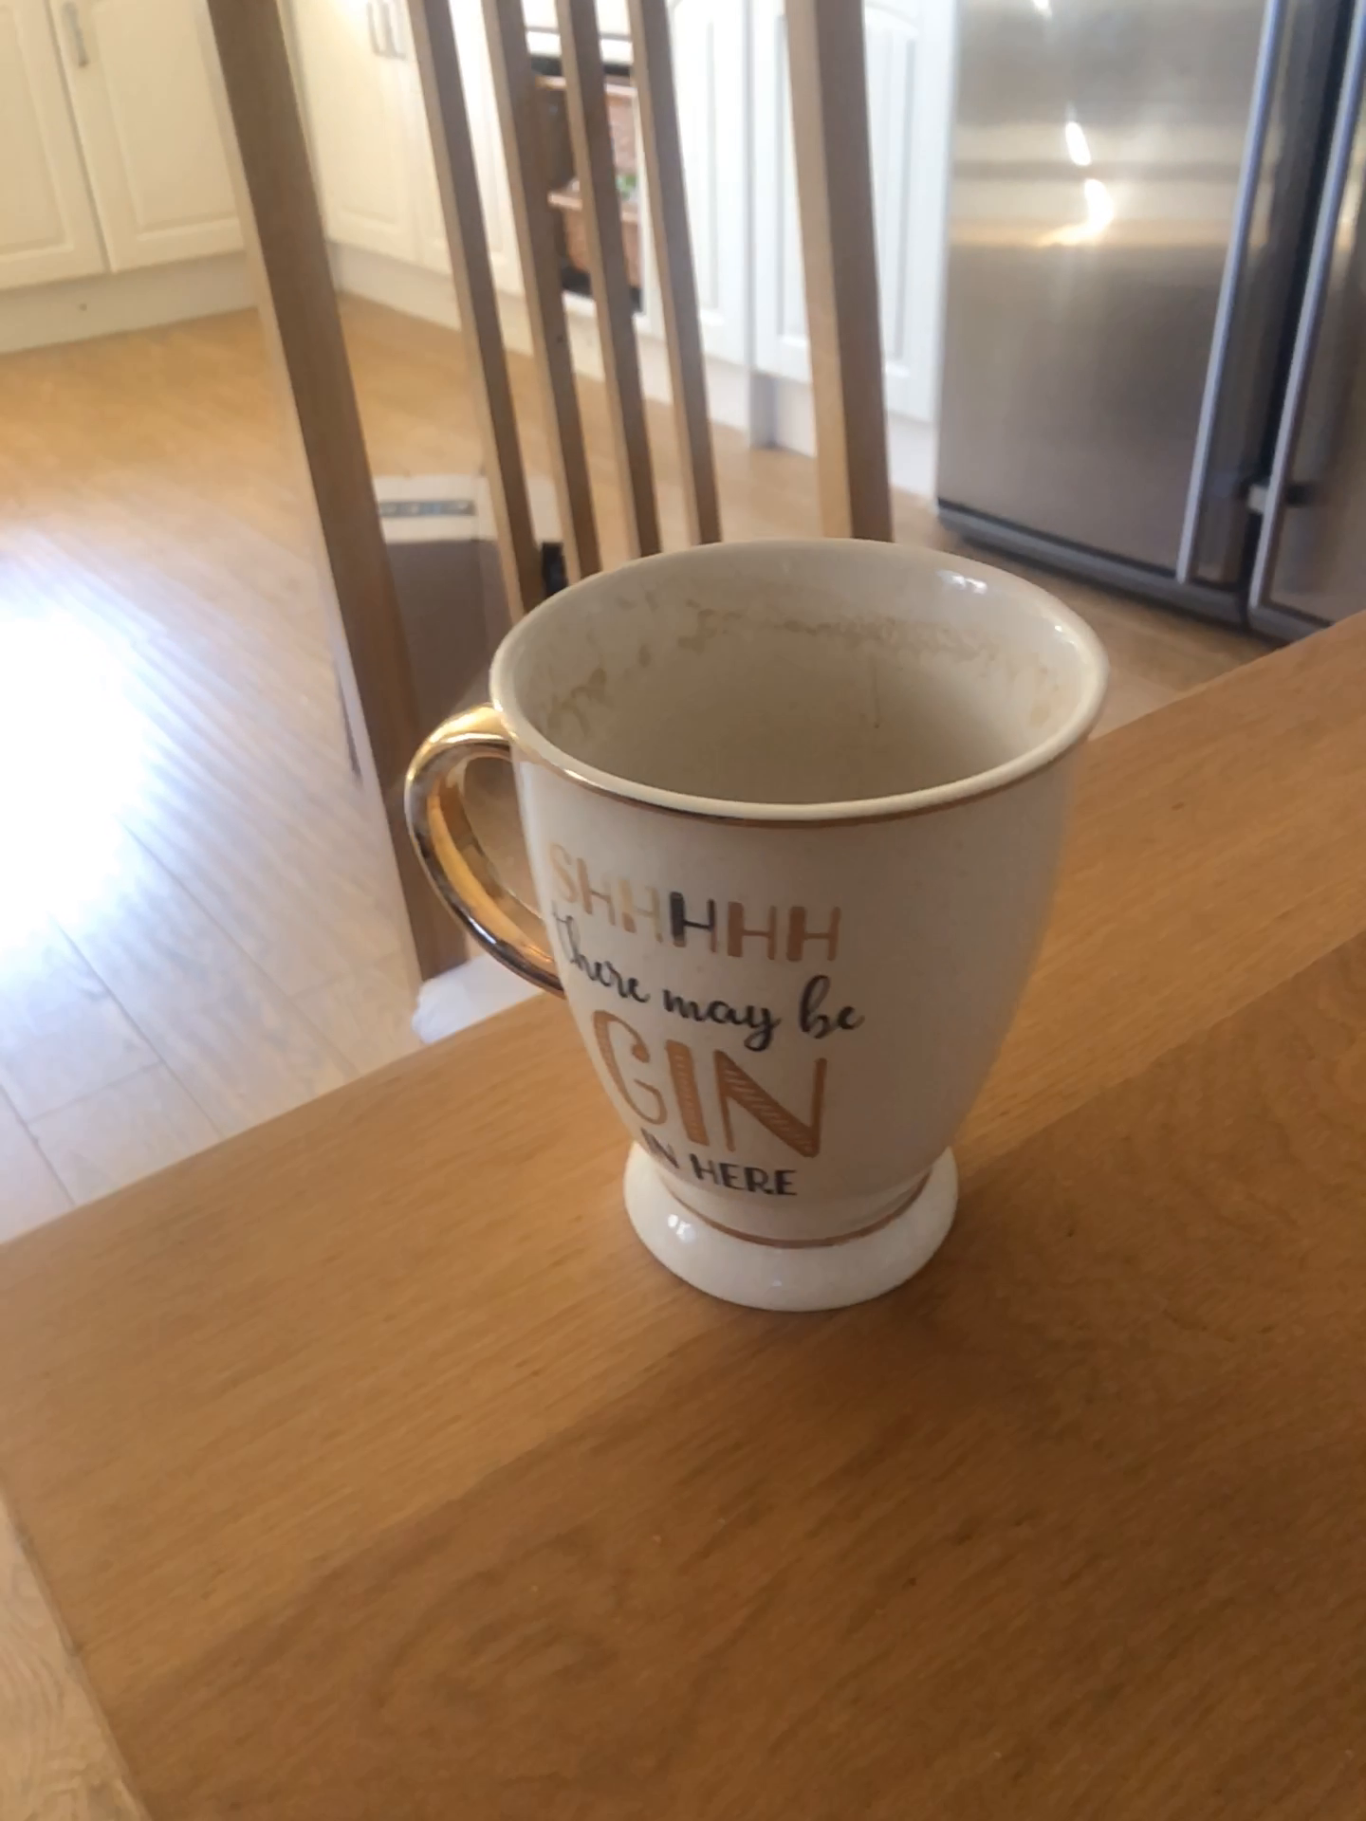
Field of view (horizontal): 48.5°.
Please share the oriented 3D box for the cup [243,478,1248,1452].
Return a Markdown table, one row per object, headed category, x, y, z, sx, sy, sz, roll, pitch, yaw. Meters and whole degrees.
| category | x | y | z | sx | sy | sz | roll | pitch | yaw |
| --- | --- | --- | --- | --- | --- | --- | --- | --- | --- |
| cup | 0.016 | -0.001 | 0.285 | 0.135 | 0.111 | 0.109 | 15 | 38 | 24 |
